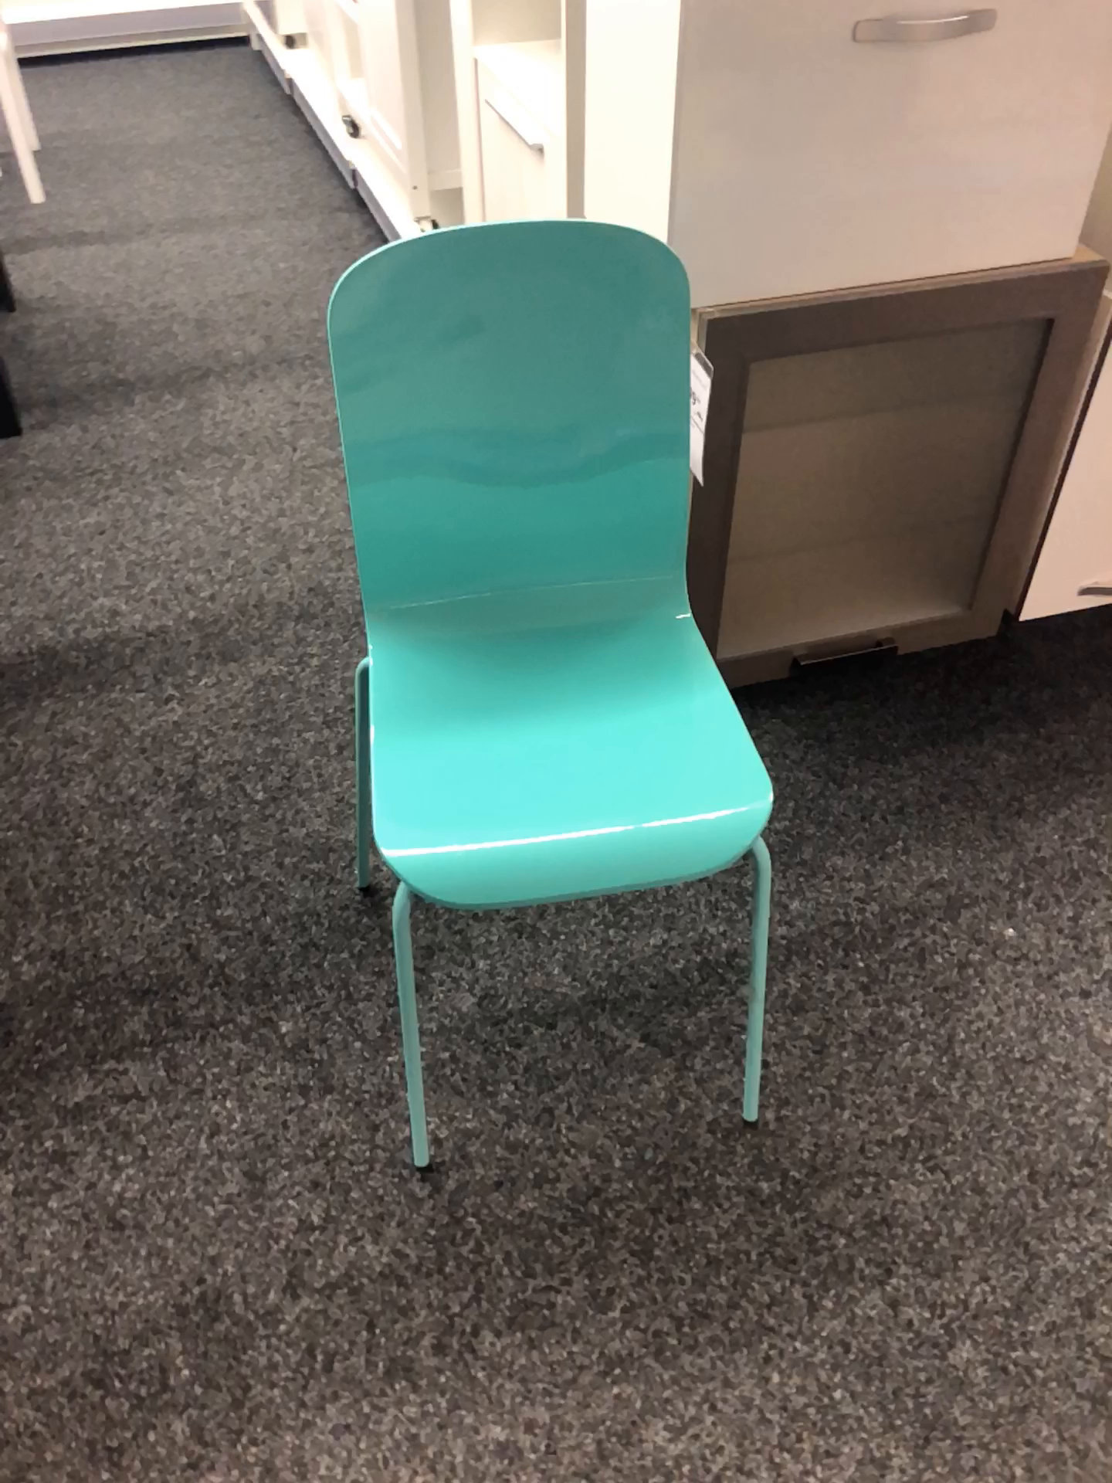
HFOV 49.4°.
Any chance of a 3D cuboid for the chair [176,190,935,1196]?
[{"bbox_3d":[-0.027,-0.017,1.246,0.490,0.865,0.503,-7,43,-6],"label":"chair"}]
